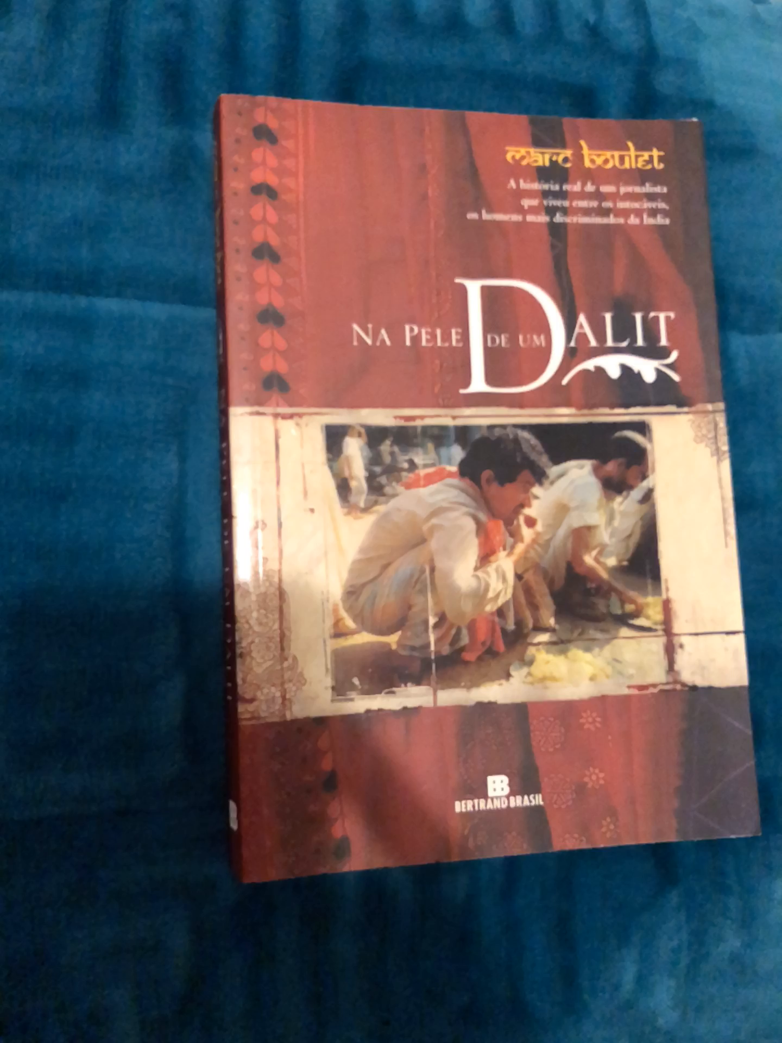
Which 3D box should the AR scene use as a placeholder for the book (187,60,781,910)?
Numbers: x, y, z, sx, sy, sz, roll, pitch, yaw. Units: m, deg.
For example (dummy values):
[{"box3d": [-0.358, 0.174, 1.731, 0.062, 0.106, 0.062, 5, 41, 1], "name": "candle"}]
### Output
[{"box3d": [0.027, -0.015, 0.252, 0.160, 0.030, 0.220, -2, 85, -9], "name": "book"}]
